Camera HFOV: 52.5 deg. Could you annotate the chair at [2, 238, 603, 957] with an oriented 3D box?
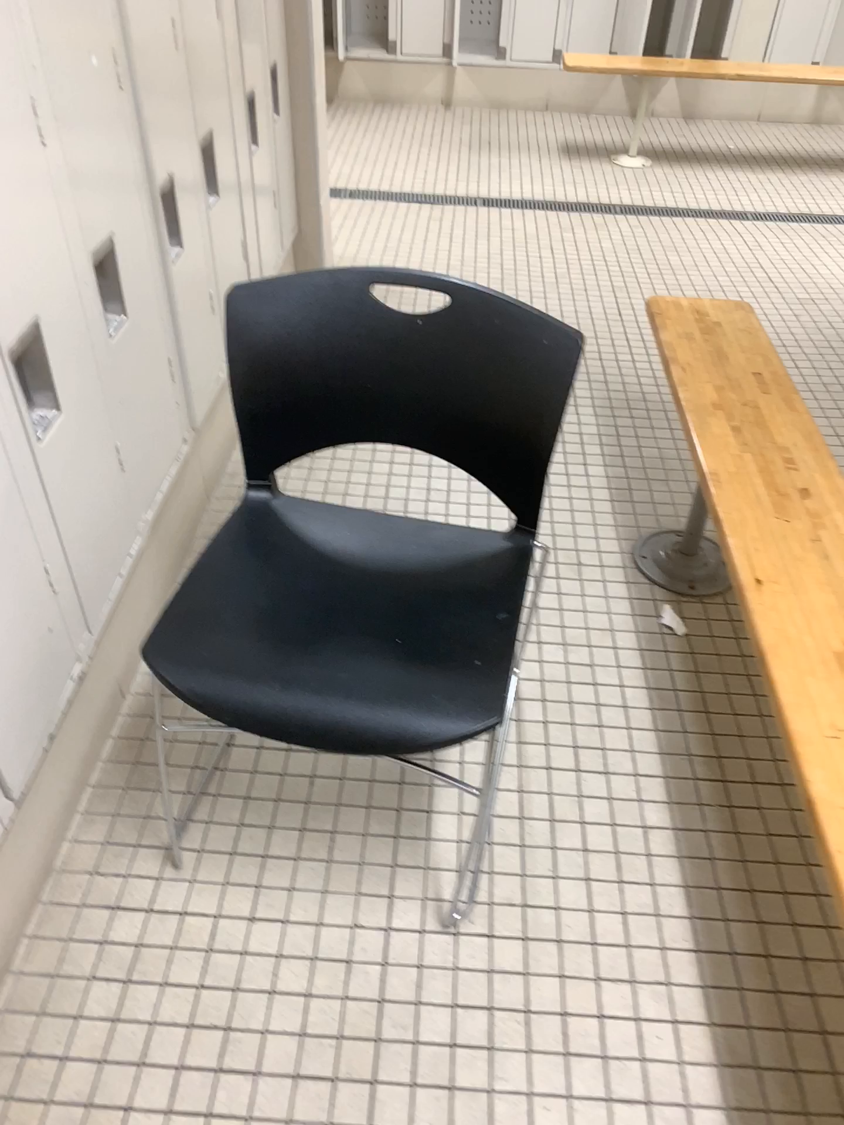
[{"bbox_3d":[-0.072,0.019,1.130,0.475,0.631,0.615,10,40,8],"label":"chair"}]
